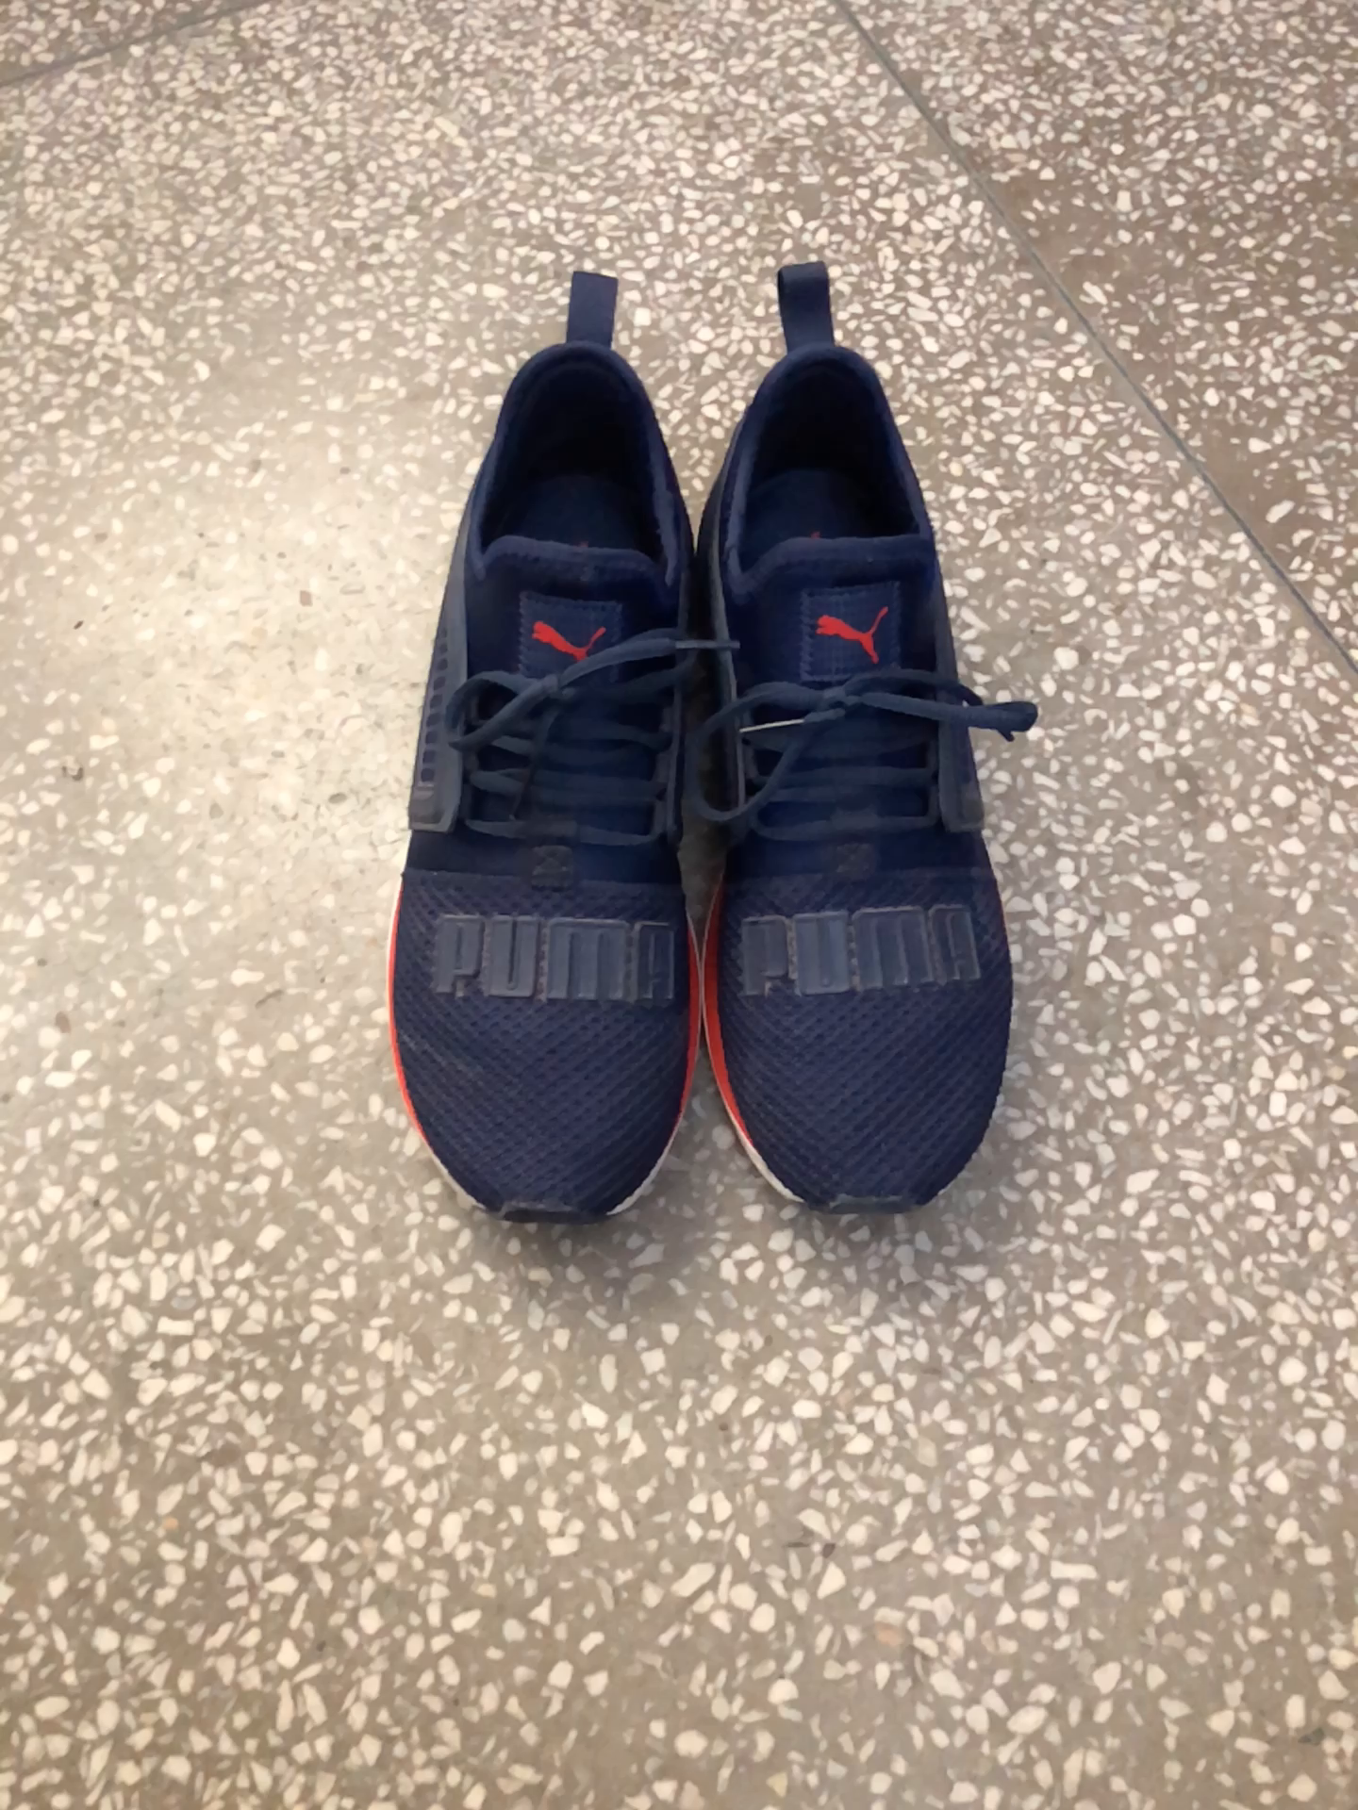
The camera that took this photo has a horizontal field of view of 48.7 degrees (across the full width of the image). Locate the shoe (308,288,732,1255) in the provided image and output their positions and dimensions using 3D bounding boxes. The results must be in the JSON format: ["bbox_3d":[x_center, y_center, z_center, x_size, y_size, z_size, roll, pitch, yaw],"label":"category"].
[{"bbox_3d":[-0.048,-0.043,0.453,0.100,0.100,0.270,-3,68,-3],"label":"shoe"}]

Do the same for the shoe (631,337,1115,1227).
[{"bbox_3d":[0.049,-0.033,0.454,0.100,0.120,0.230,-6,68,3],"label":"shoe"}]
